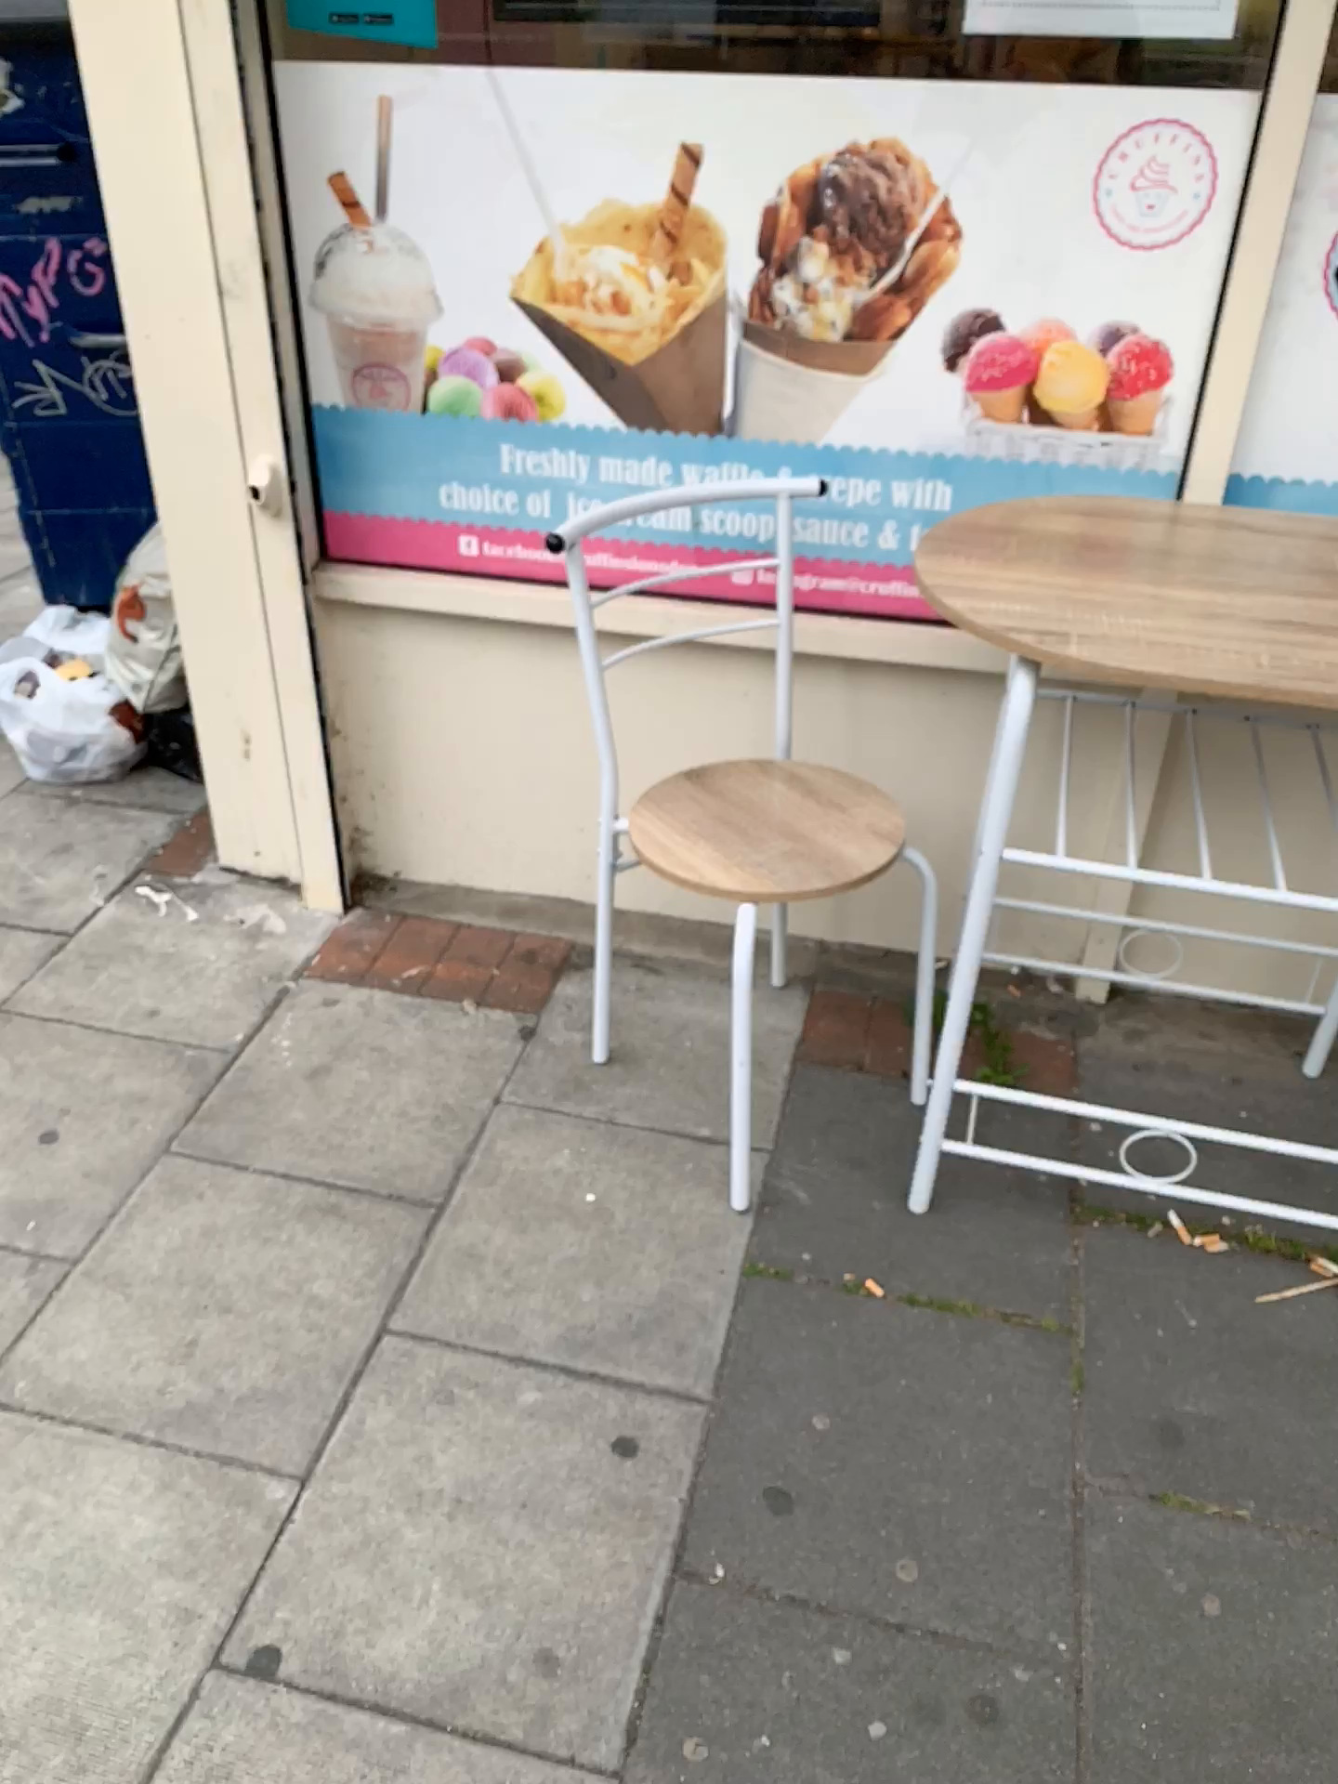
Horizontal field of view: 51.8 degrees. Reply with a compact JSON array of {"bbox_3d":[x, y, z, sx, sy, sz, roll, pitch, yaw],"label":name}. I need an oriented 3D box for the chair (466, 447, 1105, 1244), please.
[{"bbox_3d":[0.126,-0.092,1.767,0.532,0.753,0.503,-25,40,-36],"label":"chair"}]
